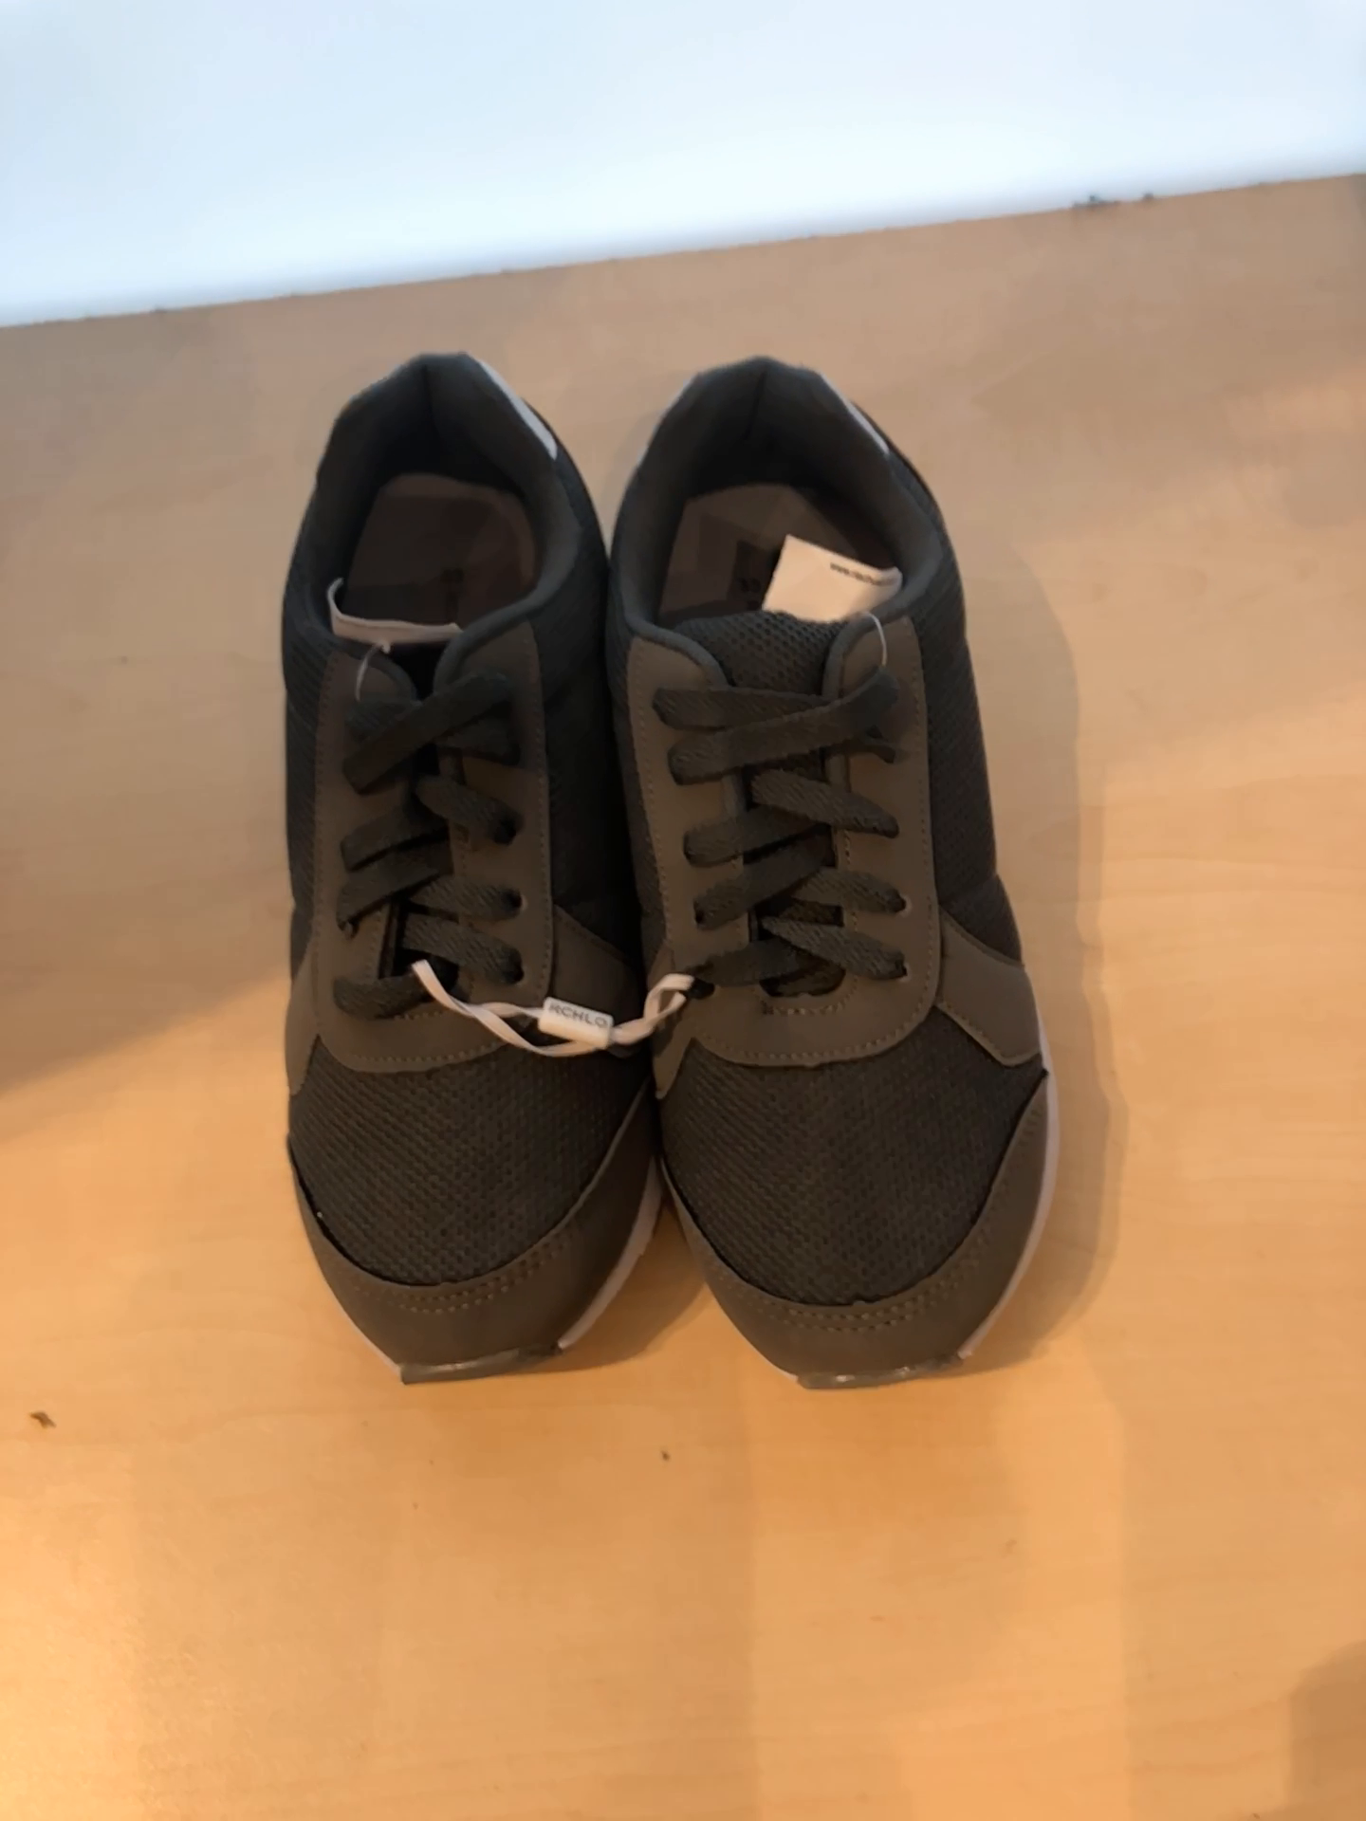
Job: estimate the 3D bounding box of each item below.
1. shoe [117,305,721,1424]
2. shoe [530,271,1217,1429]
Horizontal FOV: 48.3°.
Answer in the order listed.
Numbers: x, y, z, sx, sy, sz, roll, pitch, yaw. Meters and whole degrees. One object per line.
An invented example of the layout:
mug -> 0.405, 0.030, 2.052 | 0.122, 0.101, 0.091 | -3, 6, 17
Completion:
shoe -> -0.054, -0.010, 0.353 | 0.100, 0.100, 0.231 | -6, 67, 2
shoe -> 0.032, -0.014, 0.357 | 0.100, 0.100, 0.241 | -8, 67, 1
